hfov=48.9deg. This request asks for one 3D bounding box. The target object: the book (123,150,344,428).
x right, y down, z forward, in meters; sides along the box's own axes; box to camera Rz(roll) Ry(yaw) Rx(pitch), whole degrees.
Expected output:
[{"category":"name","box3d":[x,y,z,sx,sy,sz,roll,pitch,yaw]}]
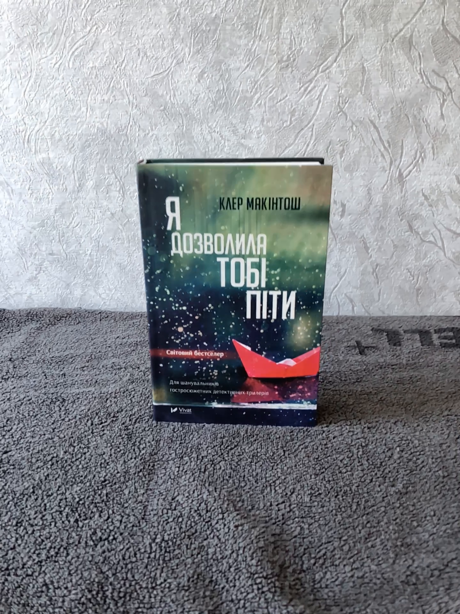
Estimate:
[{"category":"book","box3d":[0.003,-0.009,0.377,0.139,0.201,0.044,-1,22,0]}]
